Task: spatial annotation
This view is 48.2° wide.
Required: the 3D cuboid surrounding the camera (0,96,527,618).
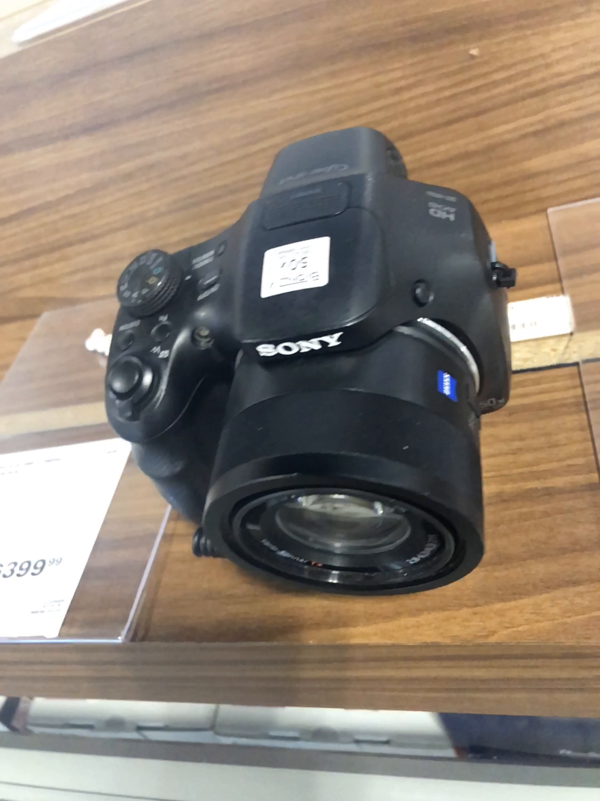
[{"bbox_3d":[-0.007,-0.008,0.197,0.125,0.084,0.110,-7,44,21],"label":"camera"}]
